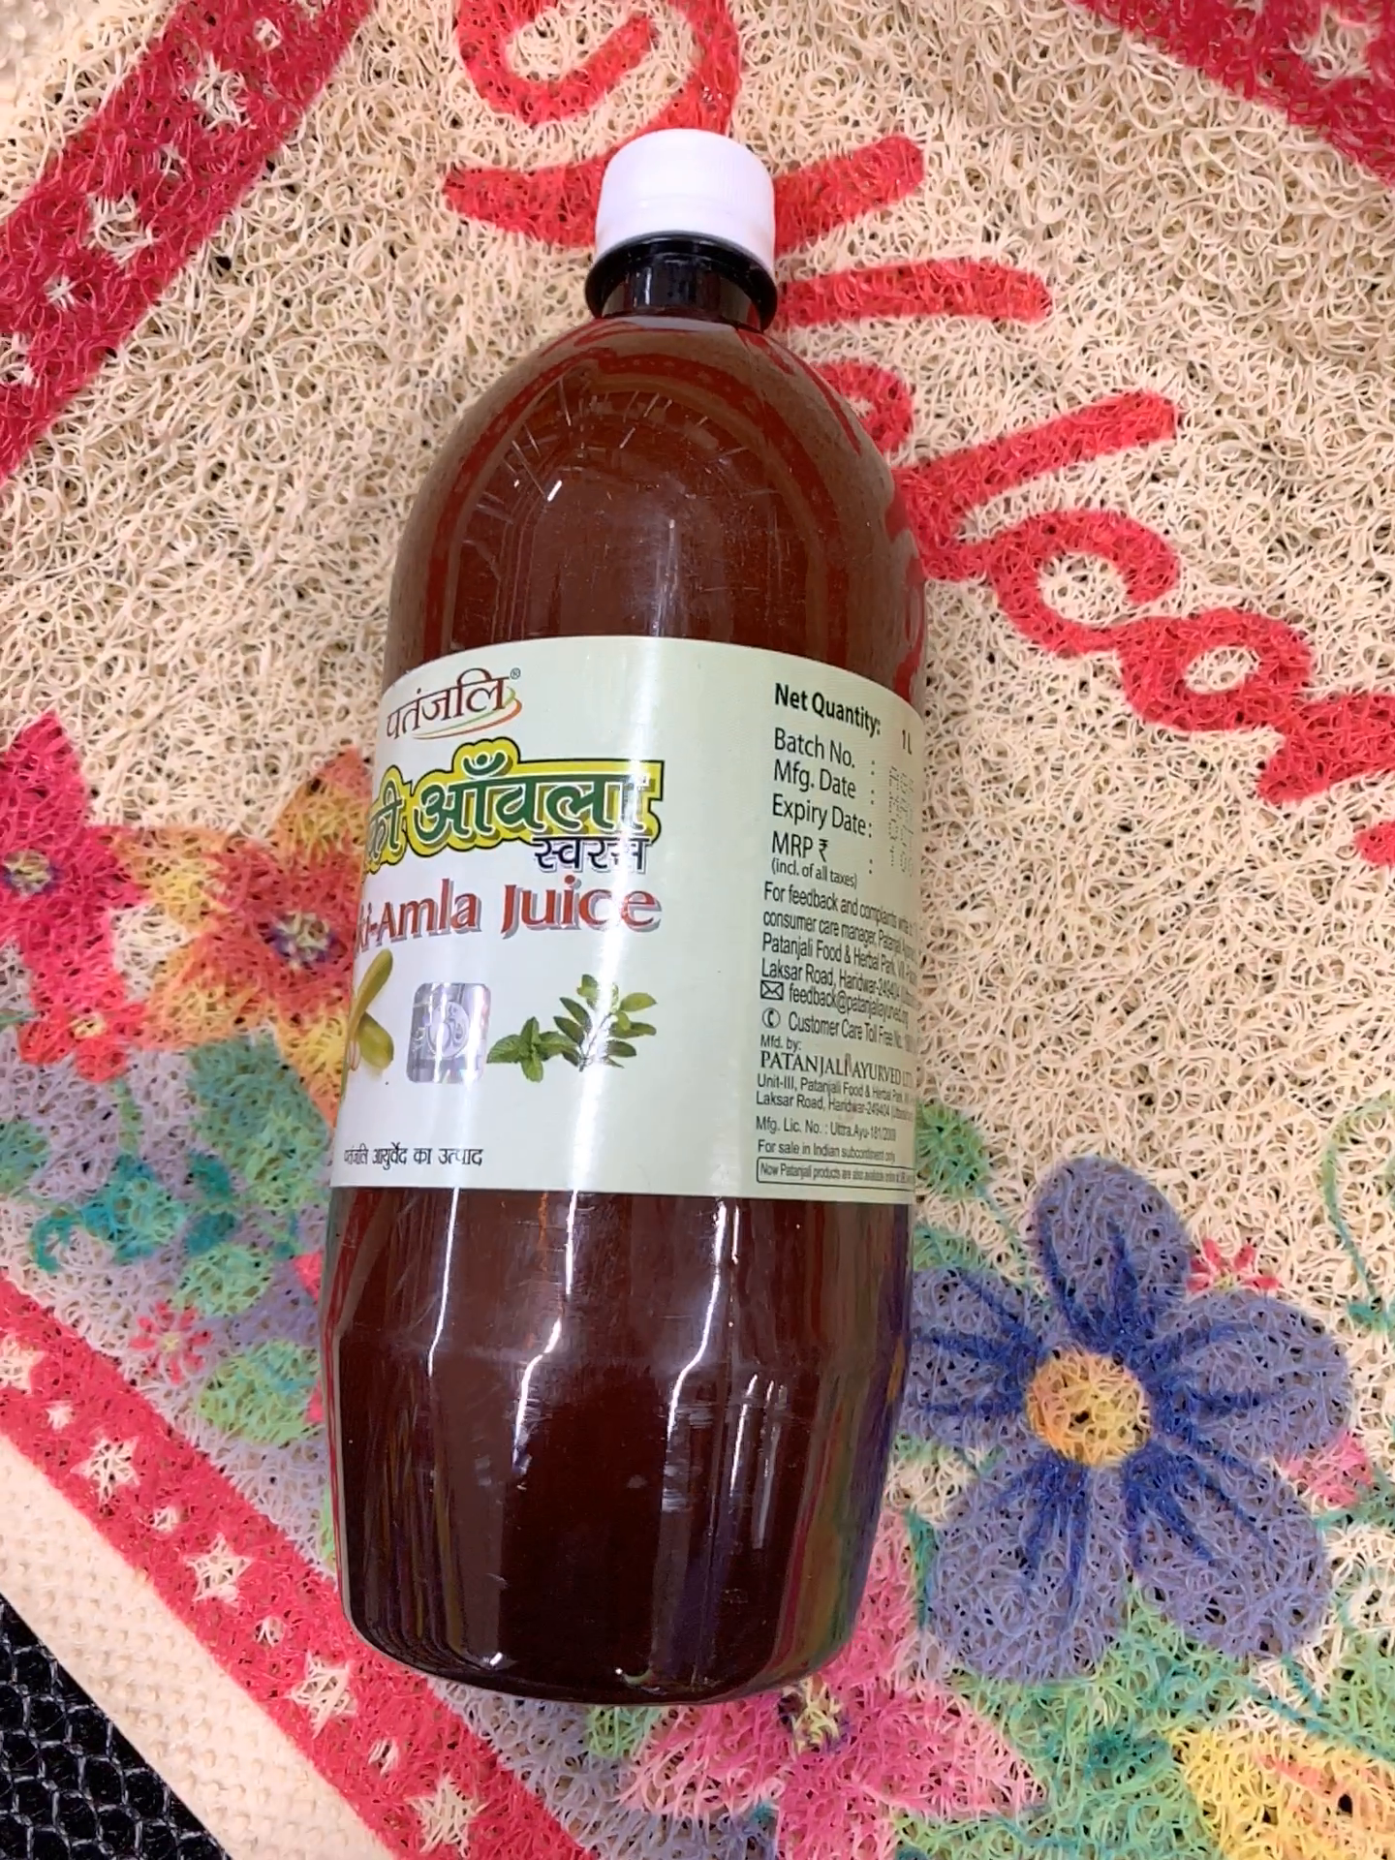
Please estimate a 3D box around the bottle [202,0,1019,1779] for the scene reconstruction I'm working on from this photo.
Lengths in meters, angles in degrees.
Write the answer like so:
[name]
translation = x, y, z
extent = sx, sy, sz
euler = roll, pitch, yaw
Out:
[bottle]
translation = -0.010, -0.028, 0.221
extent = 0.080, 0.080, 0.250
euler = 10, 77, -32
